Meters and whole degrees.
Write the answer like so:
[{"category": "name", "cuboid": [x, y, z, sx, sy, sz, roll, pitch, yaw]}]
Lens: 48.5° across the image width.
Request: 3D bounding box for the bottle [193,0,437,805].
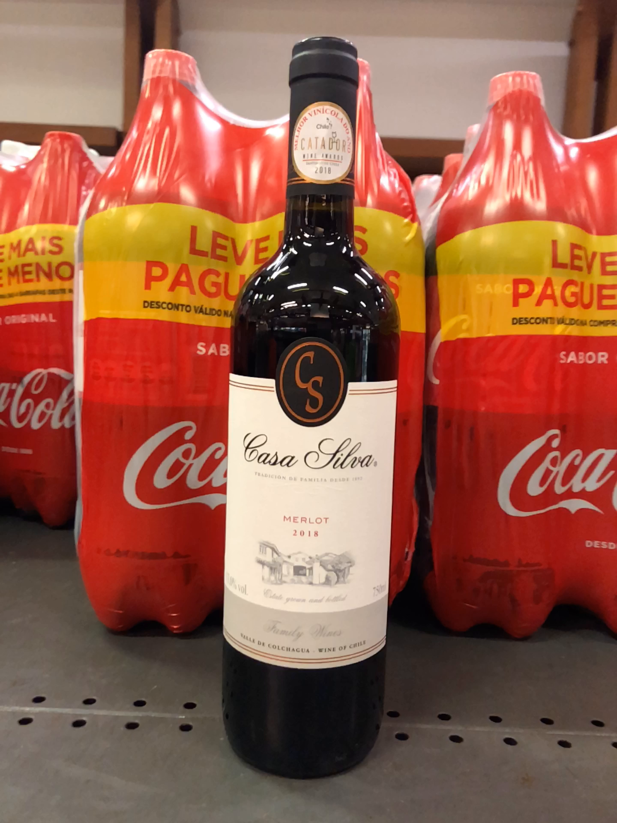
[{"category": "bottle", "cuboid": [0.000, 0.000, 0.296, 0.080, 0.309, 0.070, 2, 7, 0]}]
